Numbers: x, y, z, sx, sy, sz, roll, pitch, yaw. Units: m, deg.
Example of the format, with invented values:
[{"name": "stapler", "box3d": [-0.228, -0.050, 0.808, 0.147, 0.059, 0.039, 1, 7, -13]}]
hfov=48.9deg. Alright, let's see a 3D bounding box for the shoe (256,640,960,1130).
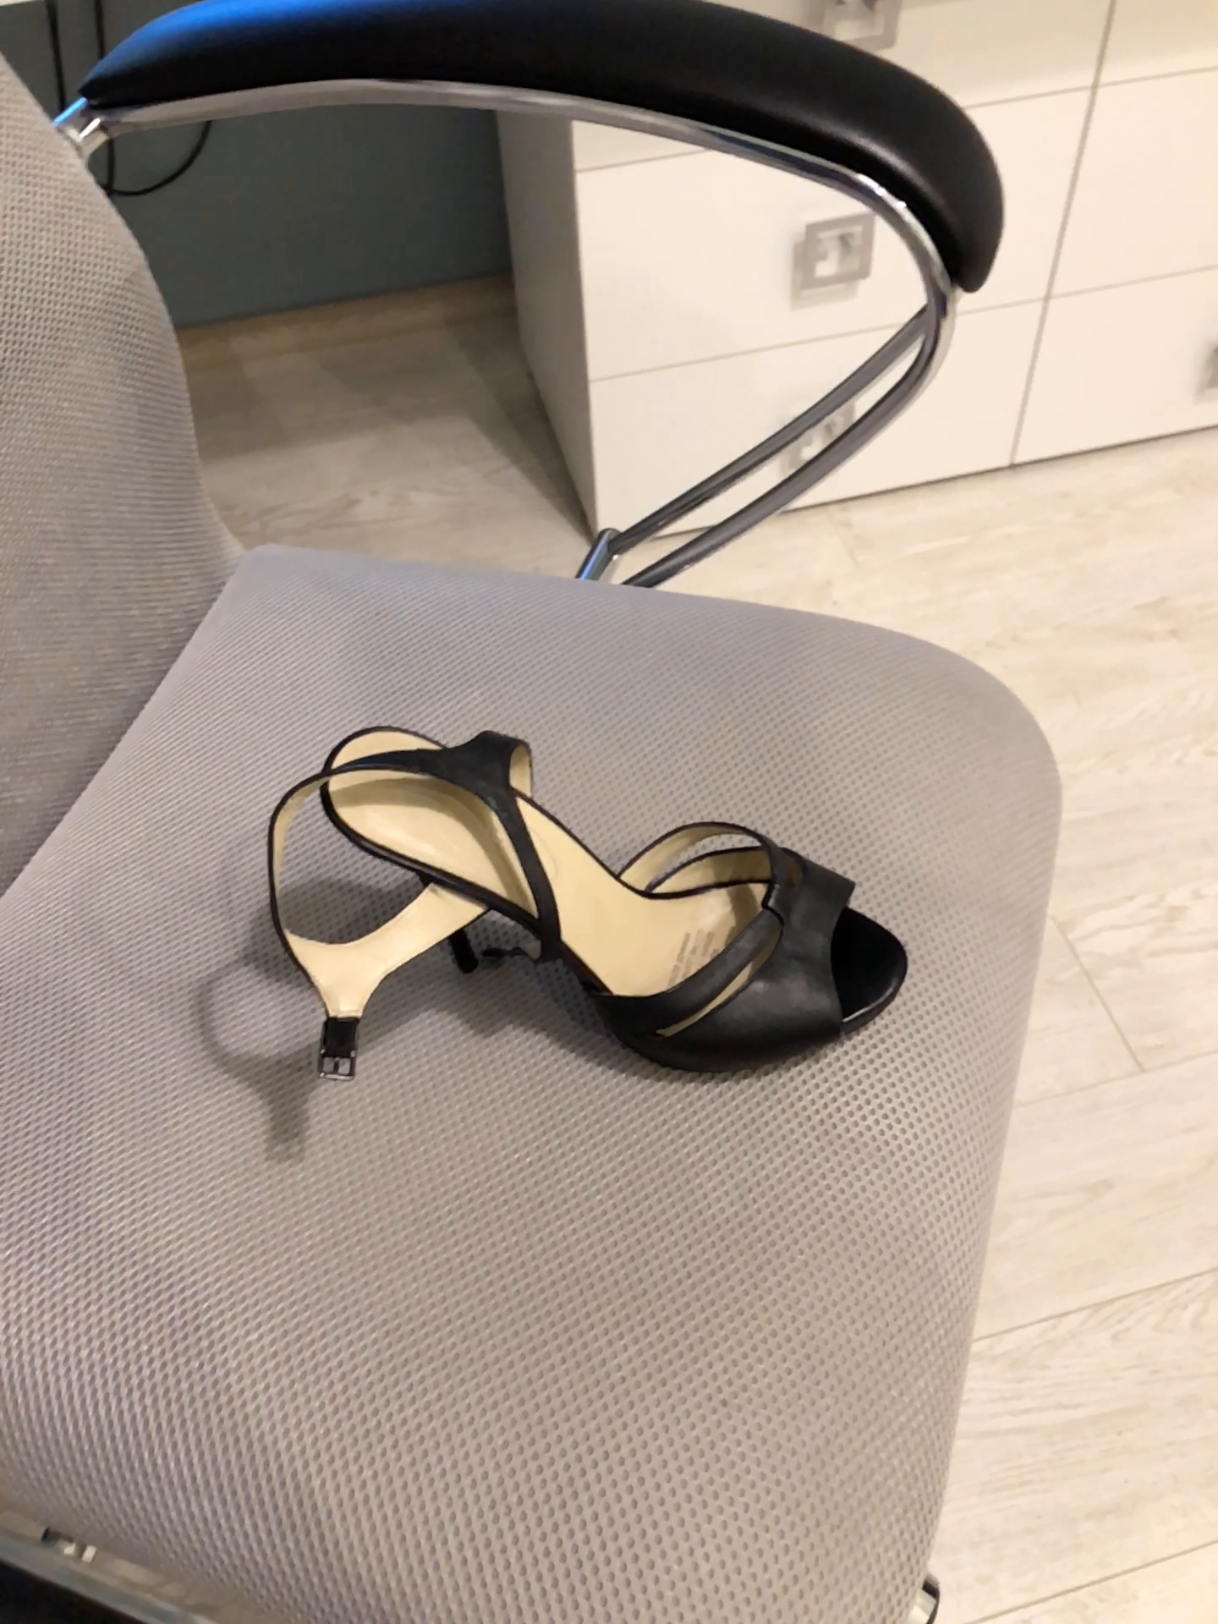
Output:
[{"name": "shoe", "box3d": [0.005, 0.026, 0.472, 0.210, 0.119, 0.091, 8, 52, 9]}]
